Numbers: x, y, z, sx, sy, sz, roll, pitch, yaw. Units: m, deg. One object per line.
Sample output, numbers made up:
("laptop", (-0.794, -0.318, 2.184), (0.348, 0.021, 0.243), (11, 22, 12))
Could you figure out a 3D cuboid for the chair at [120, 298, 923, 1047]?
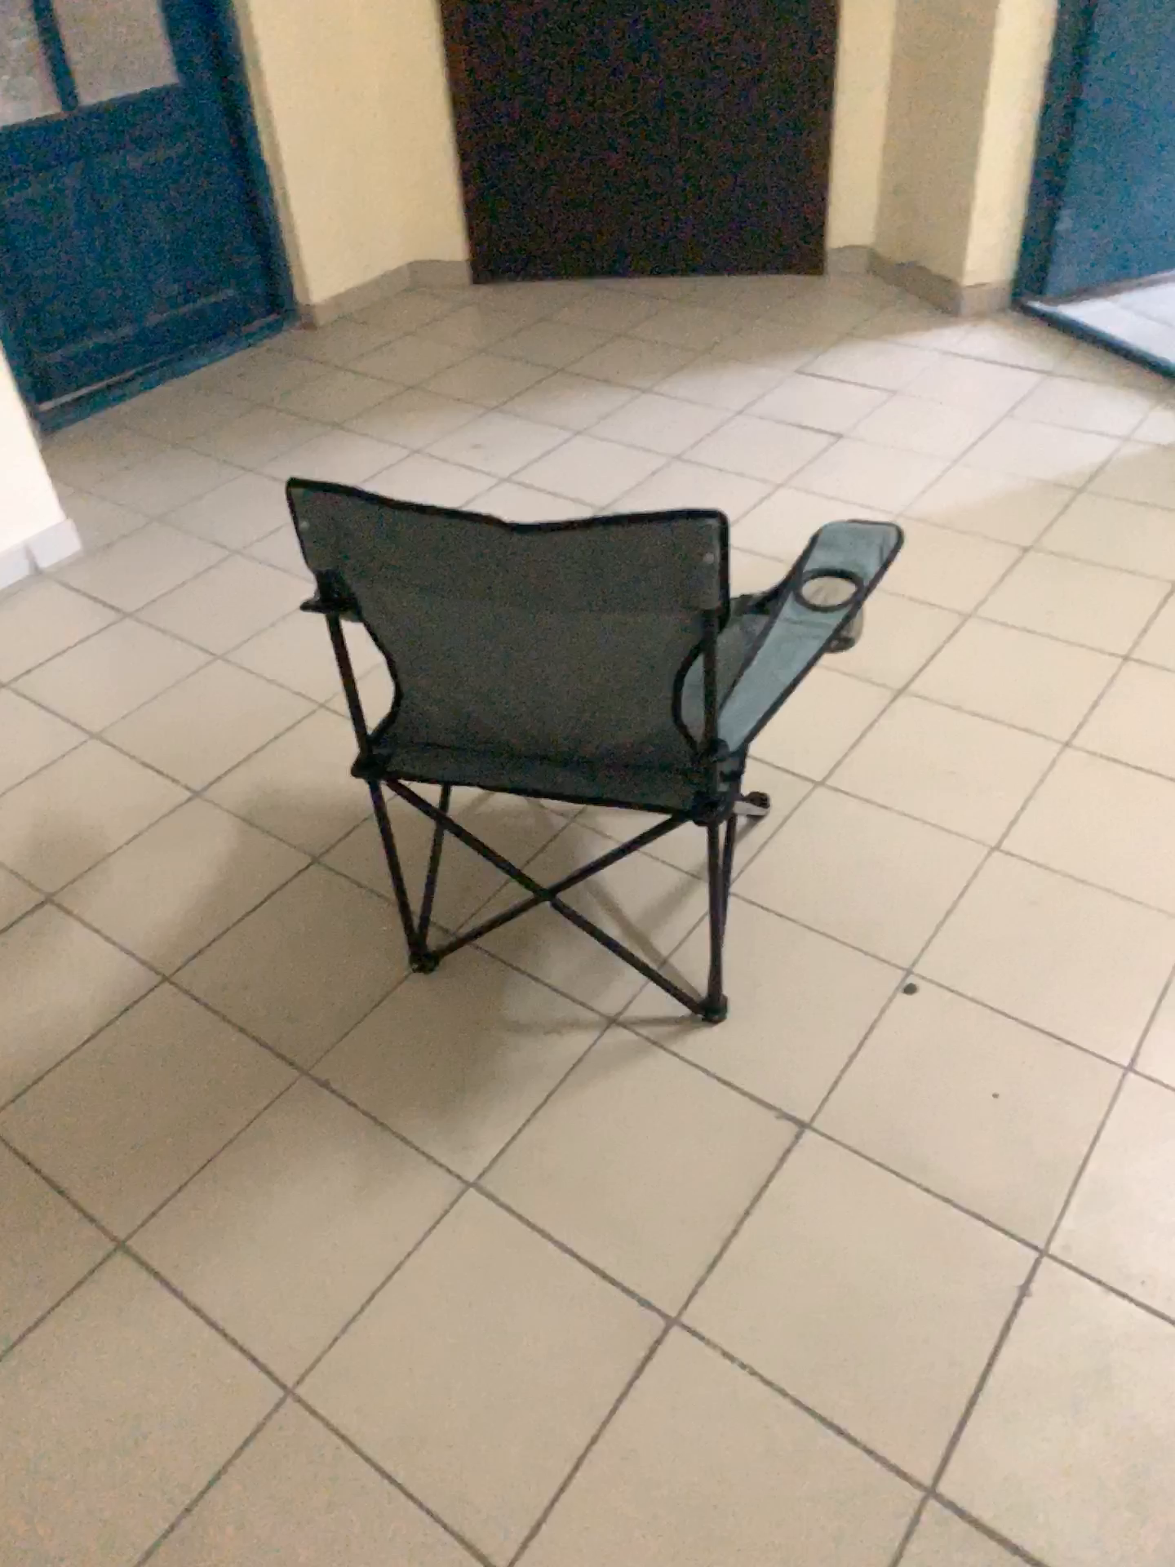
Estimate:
("chair", (-0.012, -0.165, 1.608), (0.801, 0.756, 0.562), (6, 41, 13))
